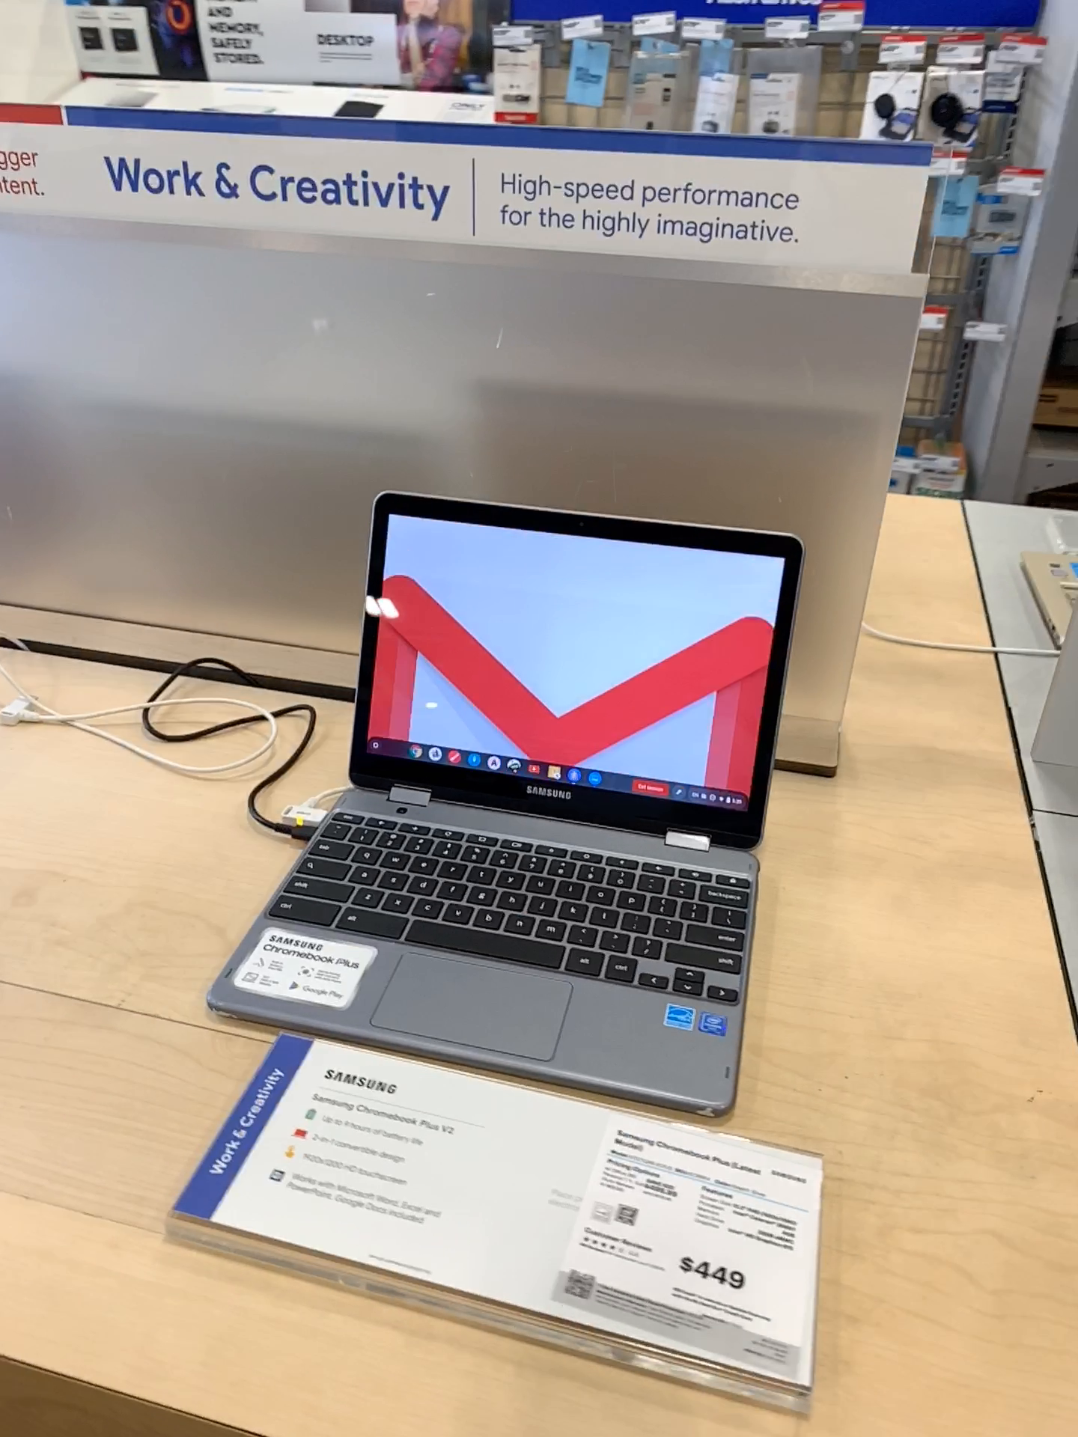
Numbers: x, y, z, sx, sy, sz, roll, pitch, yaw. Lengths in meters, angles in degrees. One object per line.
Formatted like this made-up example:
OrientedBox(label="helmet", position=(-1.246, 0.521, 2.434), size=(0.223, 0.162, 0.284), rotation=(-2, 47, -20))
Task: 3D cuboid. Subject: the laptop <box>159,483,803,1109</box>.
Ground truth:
OrientedBox(label="laptop", position=(-0.008, 0.016, 0.635), size=(0.273, 0.181, 0.289), rotation=(8, 33, 12))
